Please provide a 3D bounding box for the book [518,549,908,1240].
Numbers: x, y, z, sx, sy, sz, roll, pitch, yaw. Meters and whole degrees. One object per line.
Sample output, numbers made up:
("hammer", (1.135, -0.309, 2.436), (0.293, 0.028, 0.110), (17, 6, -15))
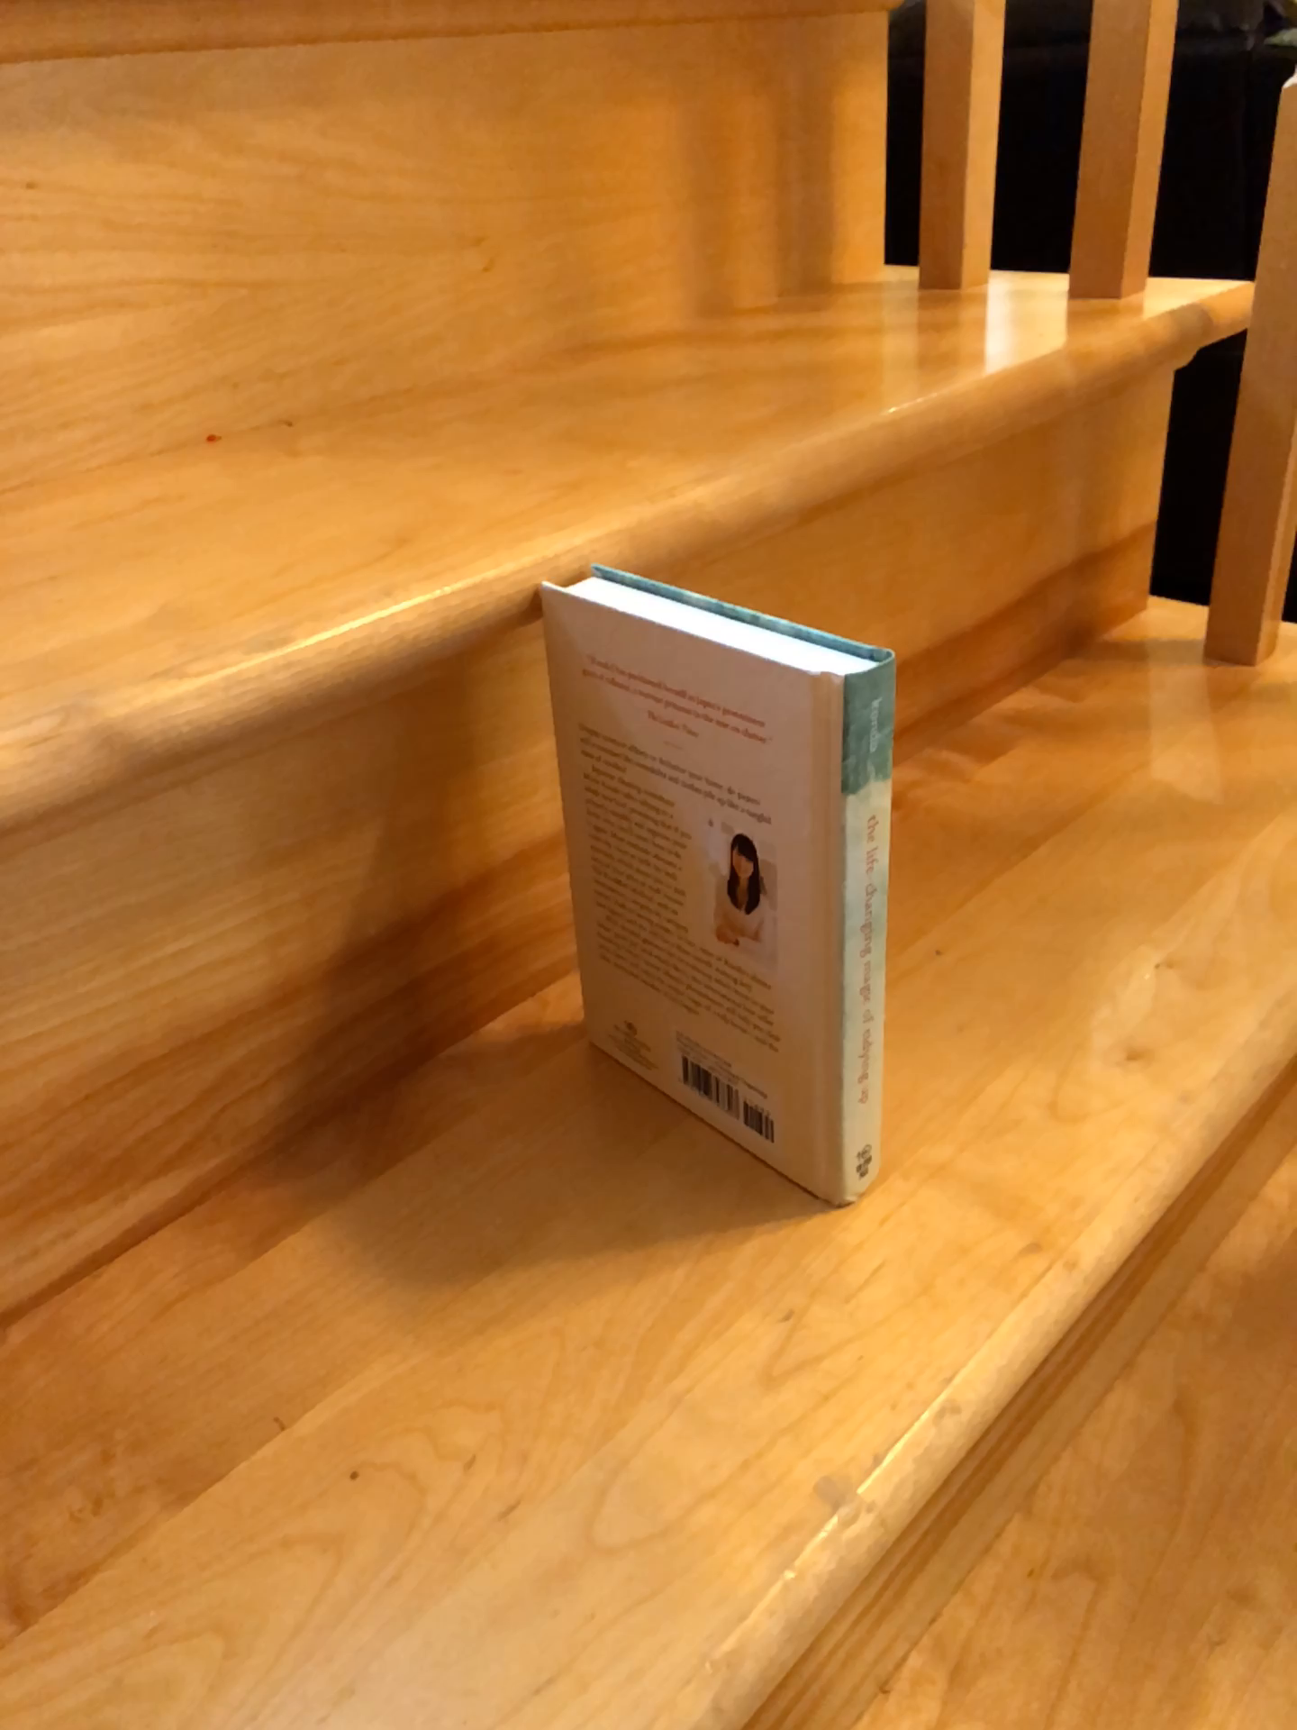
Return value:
("book", (0.019, 0.008, 0.479), (0.027, 0.199, 0.140), (-26, 36, -35))
